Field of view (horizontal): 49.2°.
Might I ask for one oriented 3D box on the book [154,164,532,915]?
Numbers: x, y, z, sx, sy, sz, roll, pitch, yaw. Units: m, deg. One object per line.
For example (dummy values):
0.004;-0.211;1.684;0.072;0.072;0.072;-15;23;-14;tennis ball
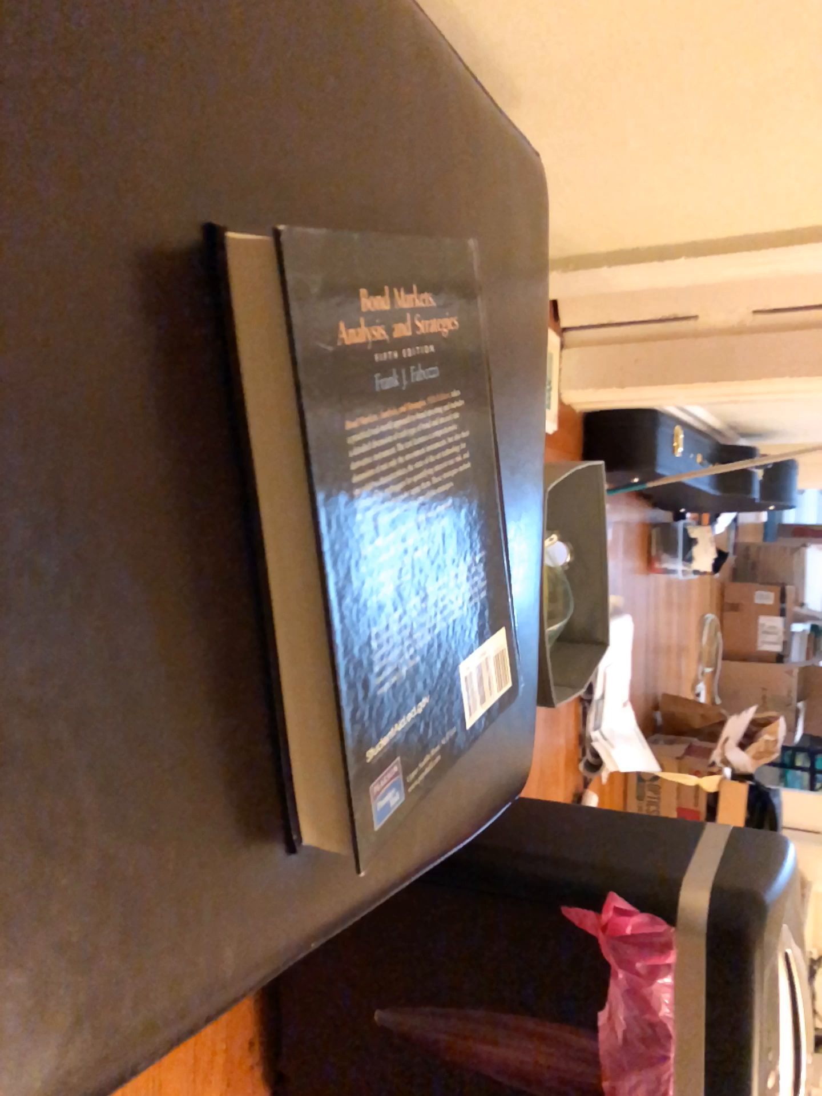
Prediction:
-0.007;-0.016;0.396;0.201;0.040;0.260;-31;119;-59;book
